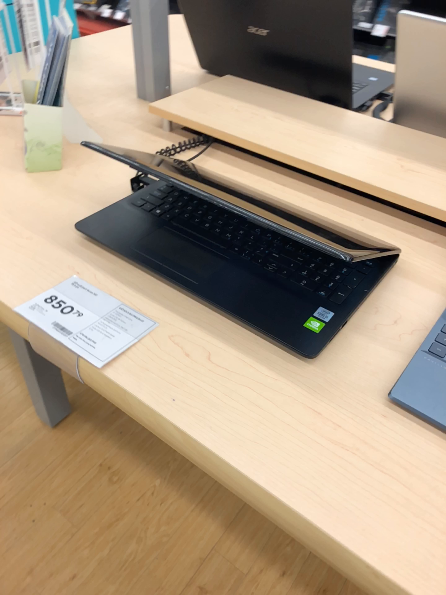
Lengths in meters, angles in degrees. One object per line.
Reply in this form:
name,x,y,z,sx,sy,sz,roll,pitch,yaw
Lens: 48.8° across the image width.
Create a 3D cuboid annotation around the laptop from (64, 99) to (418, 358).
laptop,0.016,-0.122,0.633,0.372,0.115,0.239,28,46,27
